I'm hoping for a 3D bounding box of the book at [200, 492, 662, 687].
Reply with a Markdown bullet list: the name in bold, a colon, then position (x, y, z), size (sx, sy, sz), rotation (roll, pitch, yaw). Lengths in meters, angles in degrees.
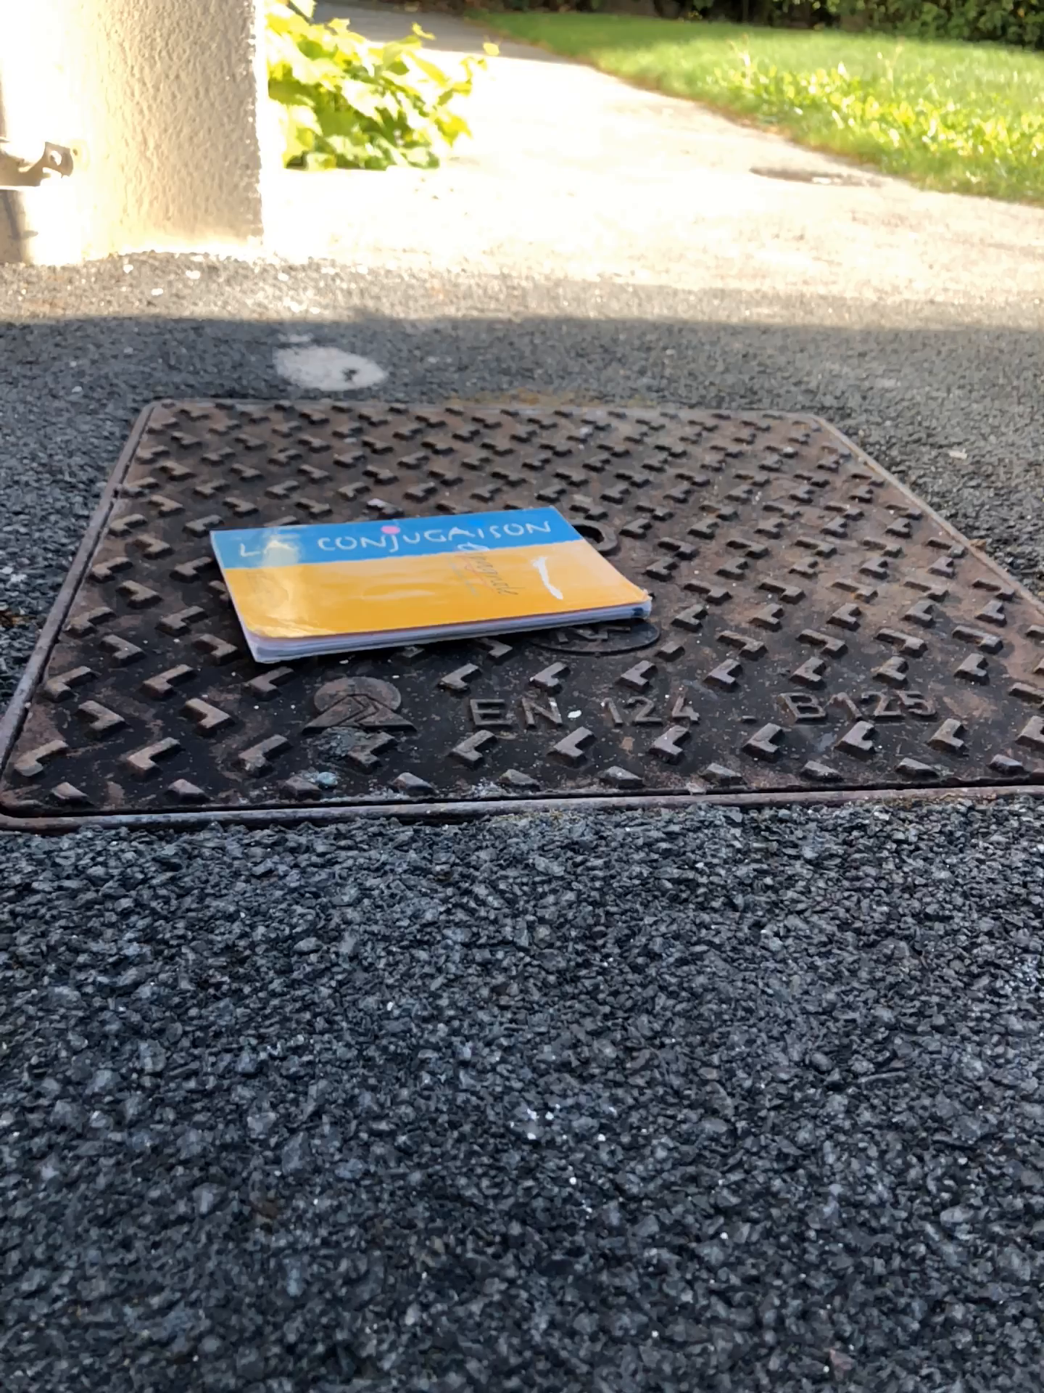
- **book**: position (-0.049, -0.058, 0.554), size (0.188, 0.017, 0.140), rotation (-8, 33, -20)
